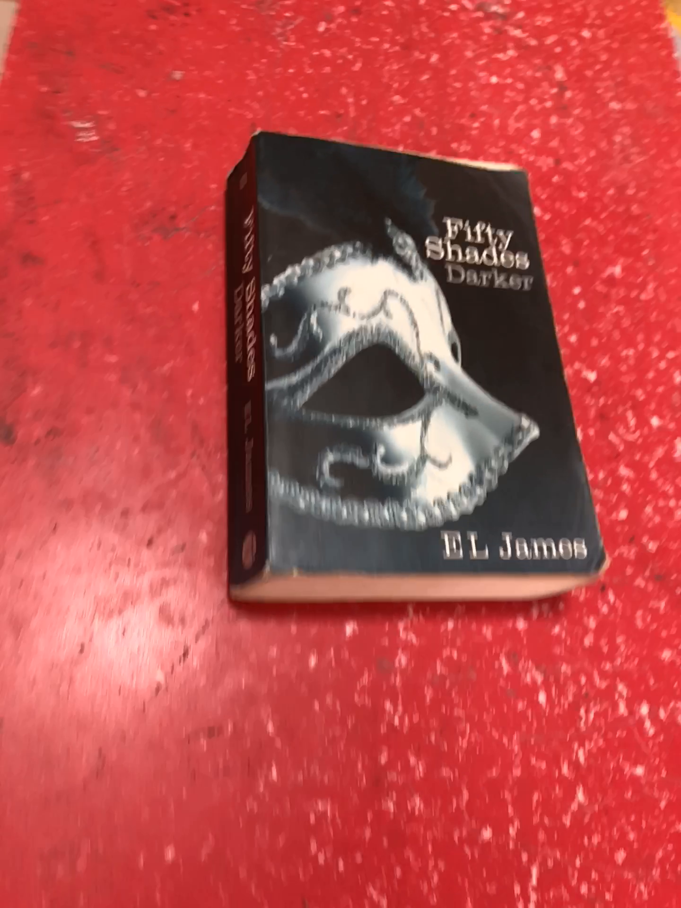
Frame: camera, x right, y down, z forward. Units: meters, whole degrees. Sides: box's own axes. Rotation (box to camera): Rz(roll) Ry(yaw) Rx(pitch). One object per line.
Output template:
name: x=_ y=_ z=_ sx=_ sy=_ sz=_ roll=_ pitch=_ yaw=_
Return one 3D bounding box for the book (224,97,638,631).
book: x=0.025 y=-0.039 z=0.315 sx=0.140 sy=0.050 sz=0.210 roll=3 pitch=66 yaw=-15
